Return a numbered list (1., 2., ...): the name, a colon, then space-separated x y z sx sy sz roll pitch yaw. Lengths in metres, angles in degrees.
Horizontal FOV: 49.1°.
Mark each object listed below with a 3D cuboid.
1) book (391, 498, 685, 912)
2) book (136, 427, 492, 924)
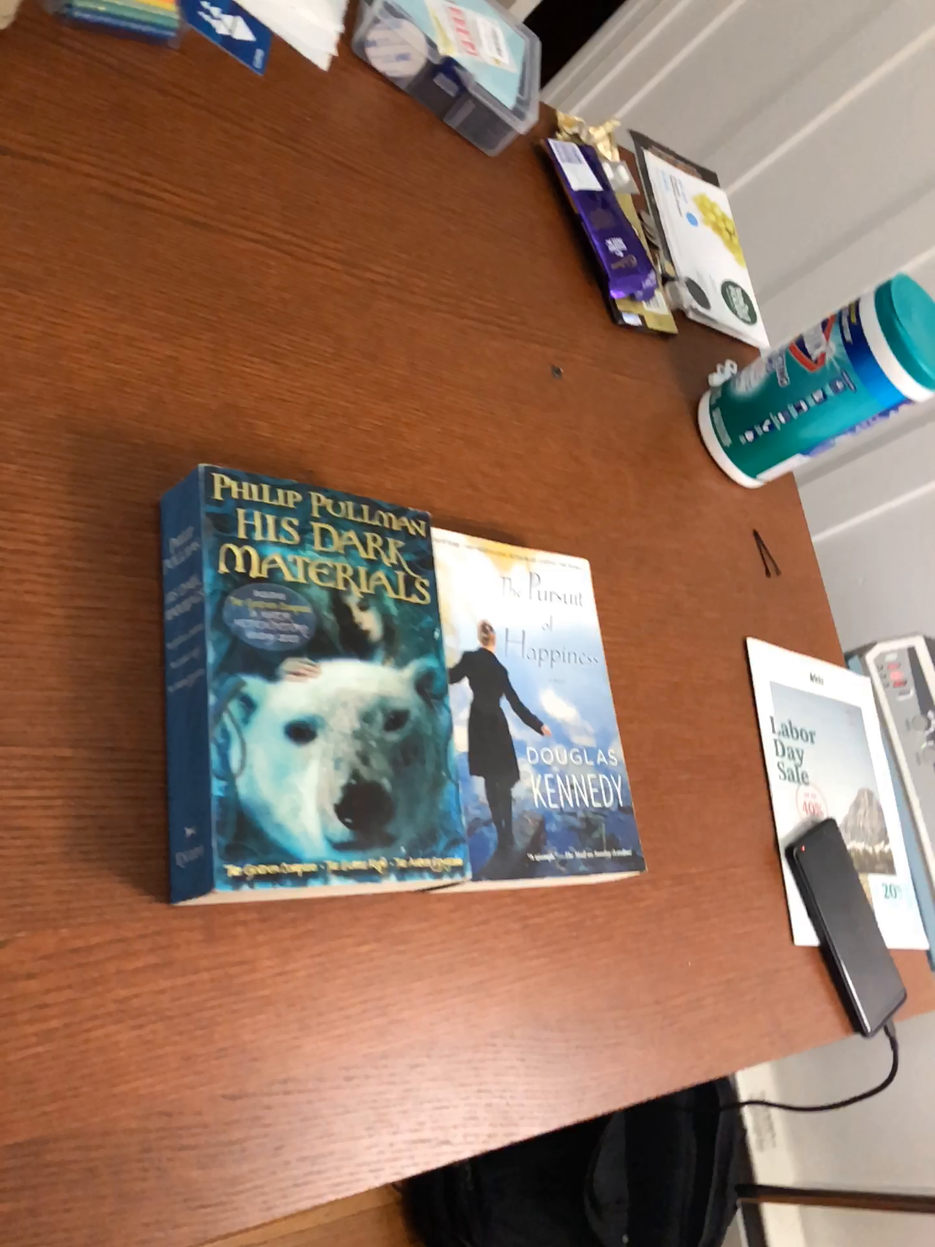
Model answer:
1. book: 0.047 0.054 0.680 0.180 0.040 0.250 9 65 -39
2. book: -0.087 0.031 0.579 0.180 0.050 0.250 9 65 -39
